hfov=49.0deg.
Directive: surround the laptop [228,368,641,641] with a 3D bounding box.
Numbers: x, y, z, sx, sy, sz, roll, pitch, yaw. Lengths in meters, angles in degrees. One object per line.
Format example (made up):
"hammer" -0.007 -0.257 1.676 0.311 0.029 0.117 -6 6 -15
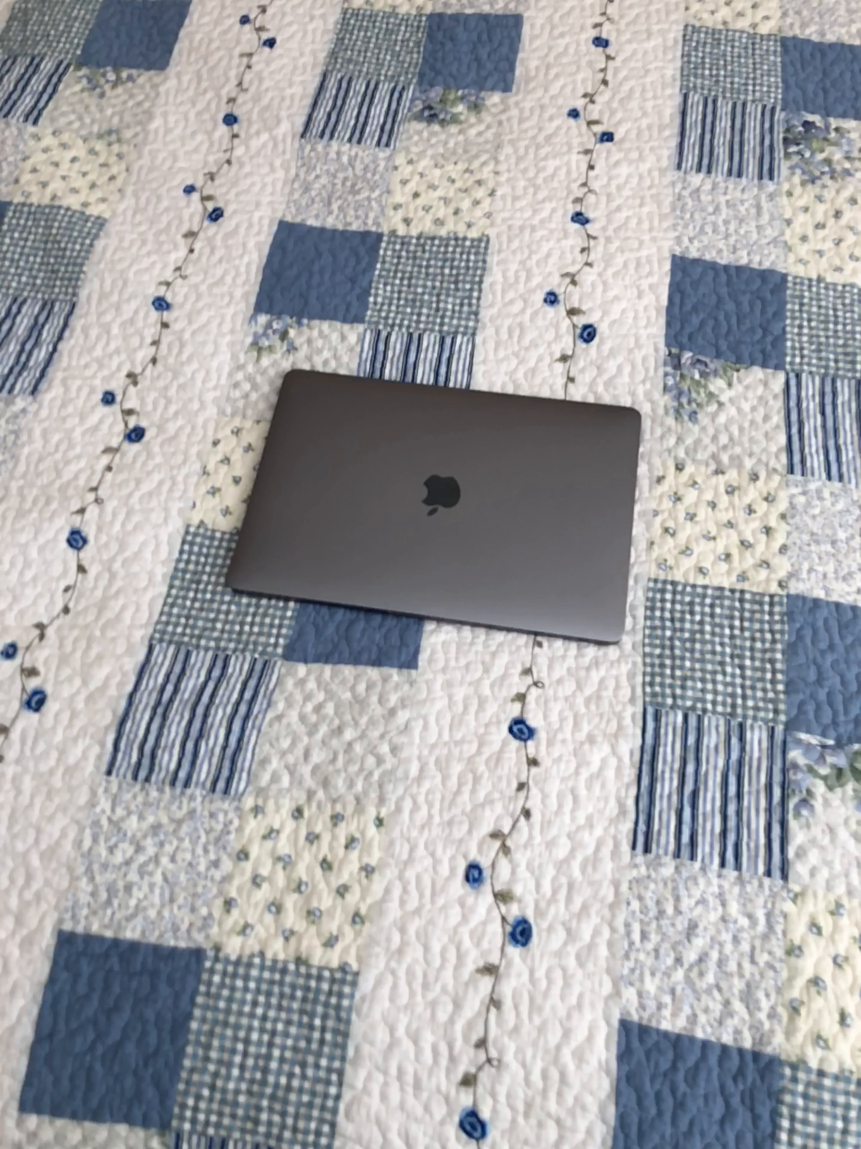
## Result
"laptop" 0.010 -0.062 0.729 0.290 0.005 0.202 8 63 5
